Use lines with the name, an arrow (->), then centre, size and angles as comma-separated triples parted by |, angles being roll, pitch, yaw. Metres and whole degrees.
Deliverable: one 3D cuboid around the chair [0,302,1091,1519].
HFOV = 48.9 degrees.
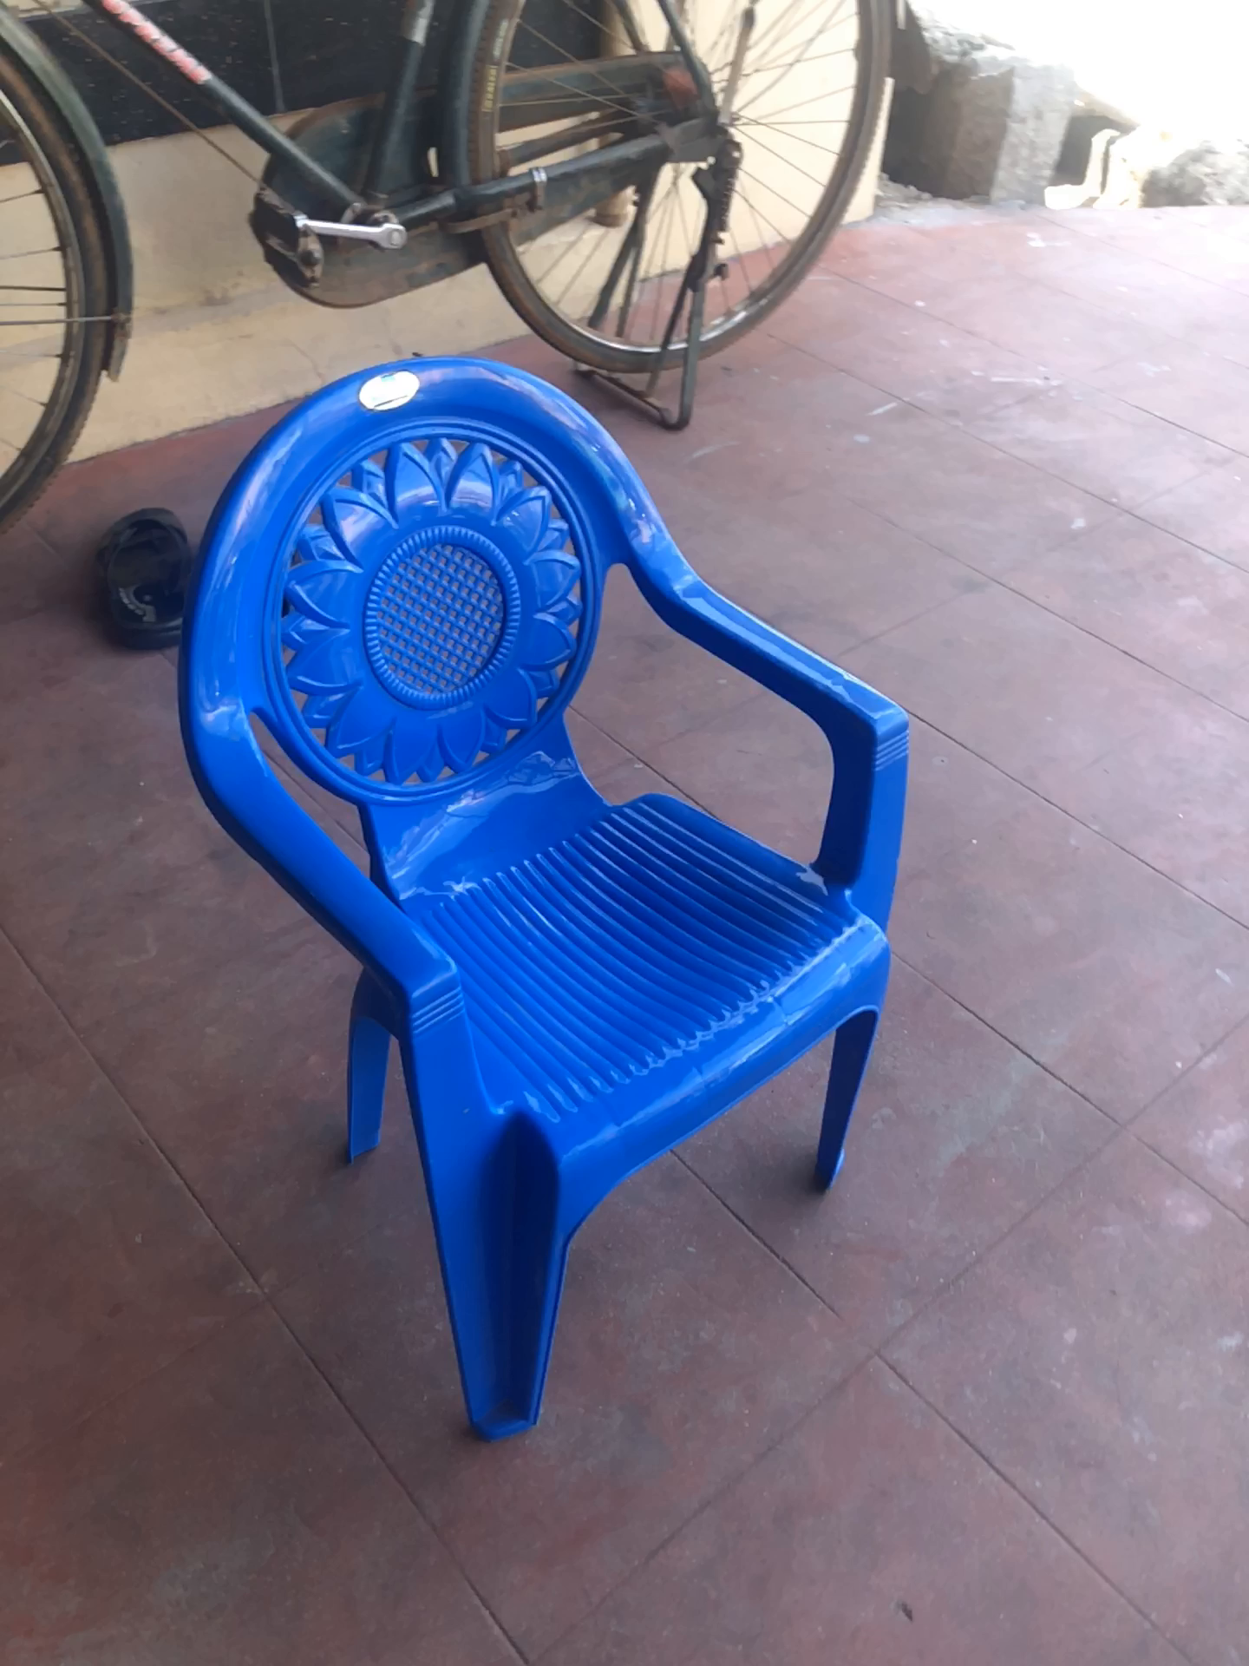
chair -> -0.074, 0.025, 0.881 | 0.402, 0.497, 0.451 | -28, 51, -30
